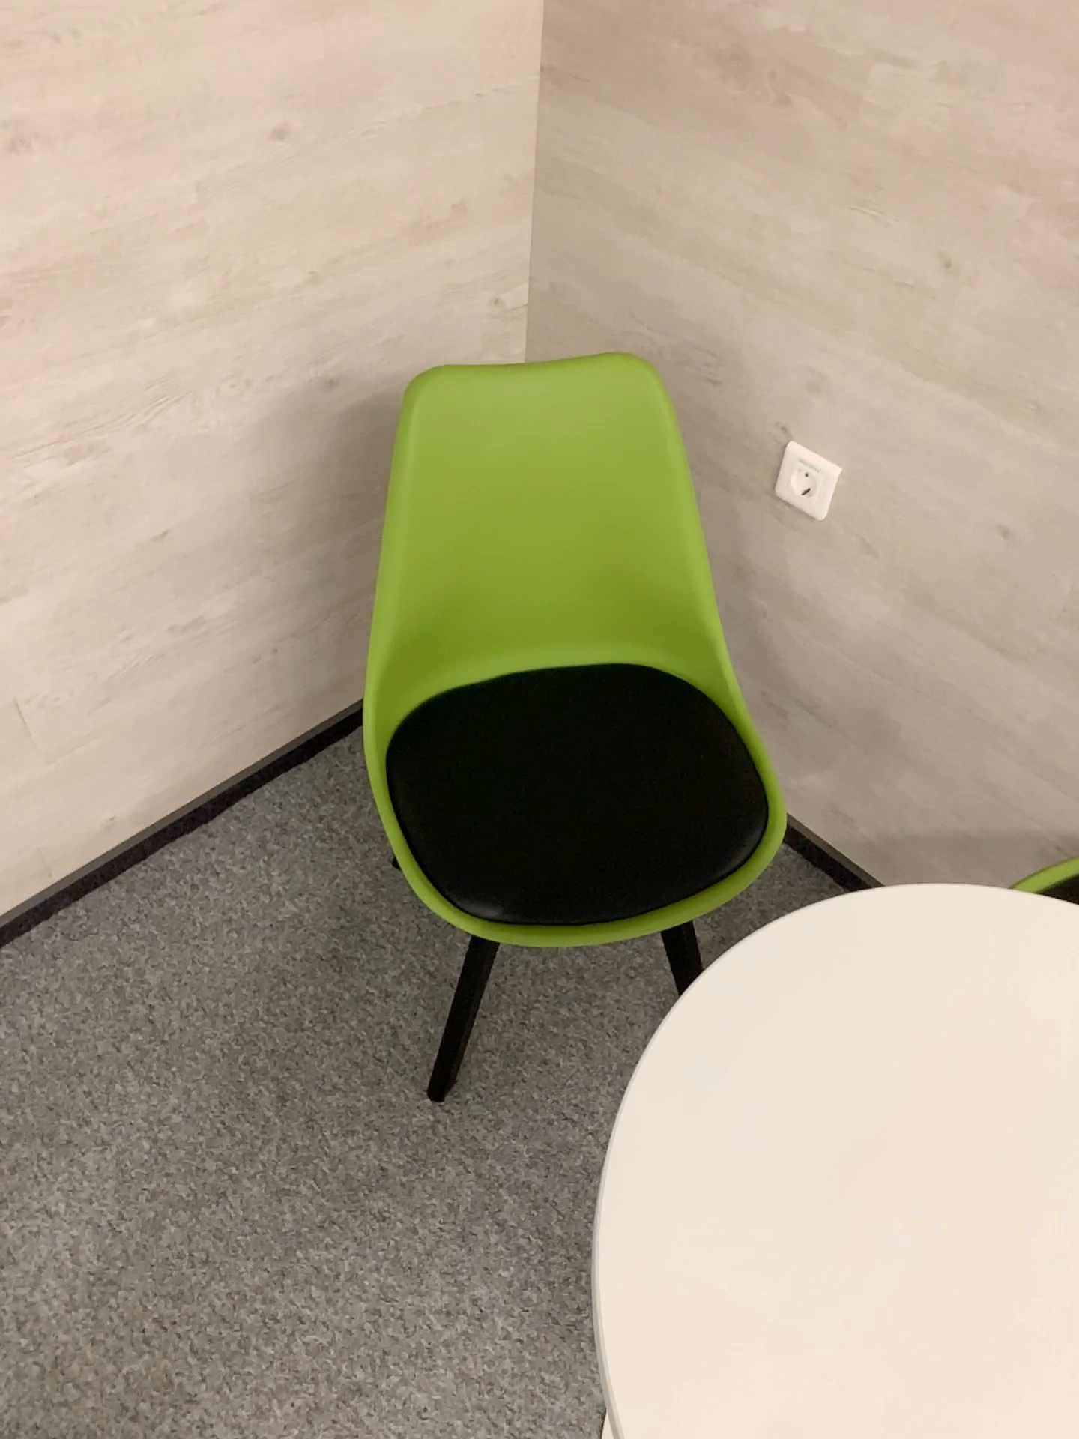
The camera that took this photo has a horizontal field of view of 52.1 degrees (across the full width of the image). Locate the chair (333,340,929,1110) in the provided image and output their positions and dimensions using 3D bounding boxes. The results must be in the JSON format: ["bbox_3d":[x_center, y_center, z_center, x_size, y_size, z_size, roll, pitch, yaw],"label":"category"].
[{"bbox_3d":[0.040,0.045,1.438,0.490,0.866,0.482,-8,48,-12],"label":"chair"}]
